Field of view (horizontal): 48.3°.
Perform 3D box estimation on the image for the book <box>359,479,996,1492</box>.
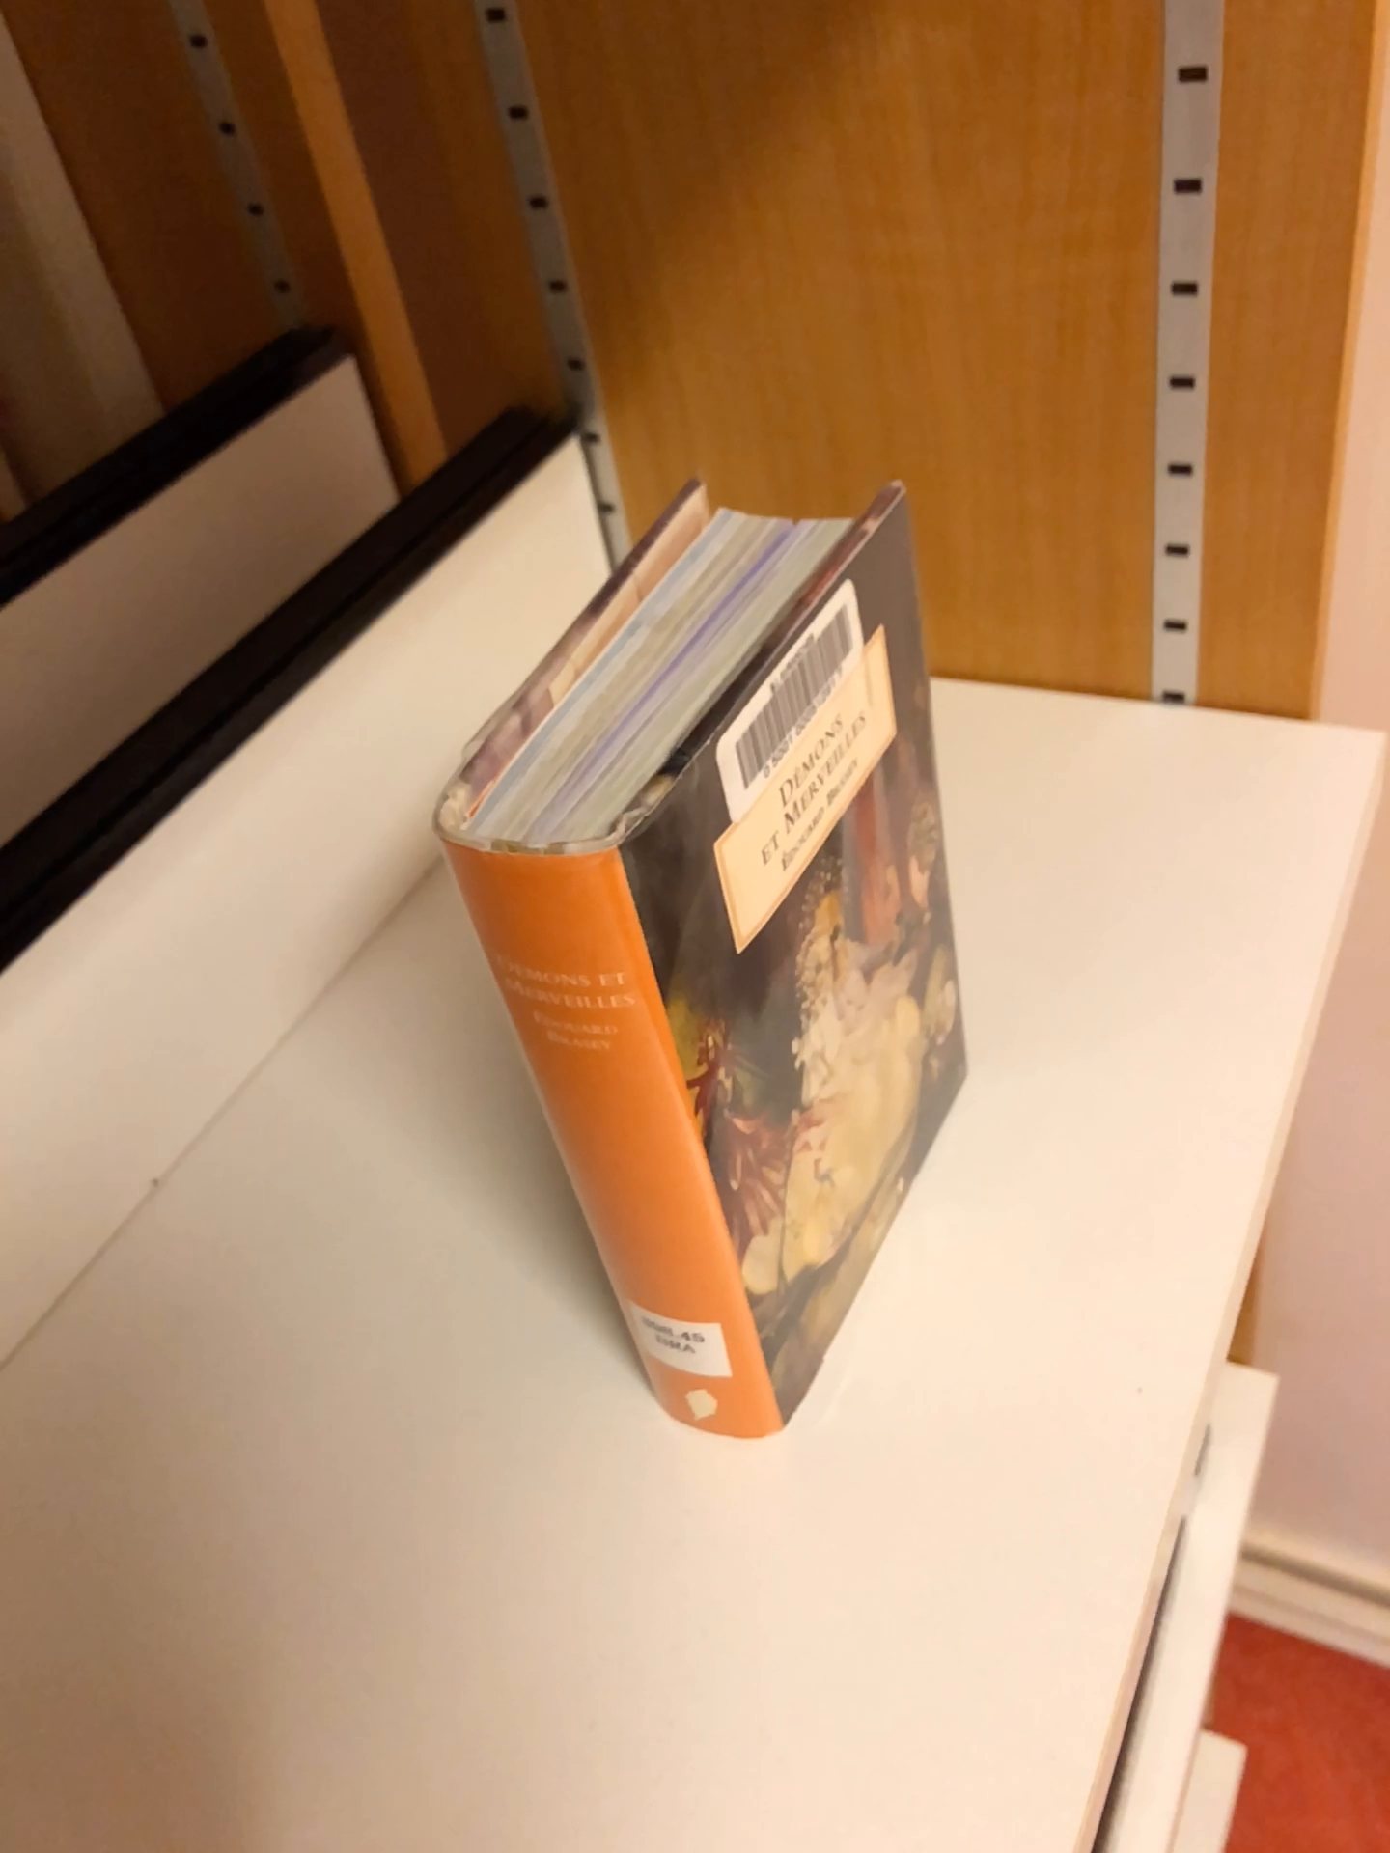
[{"bbox_3d":[0.012,0.012,0.302,0.047,0.155,0.114,11,46,28],"label":"book"}]
